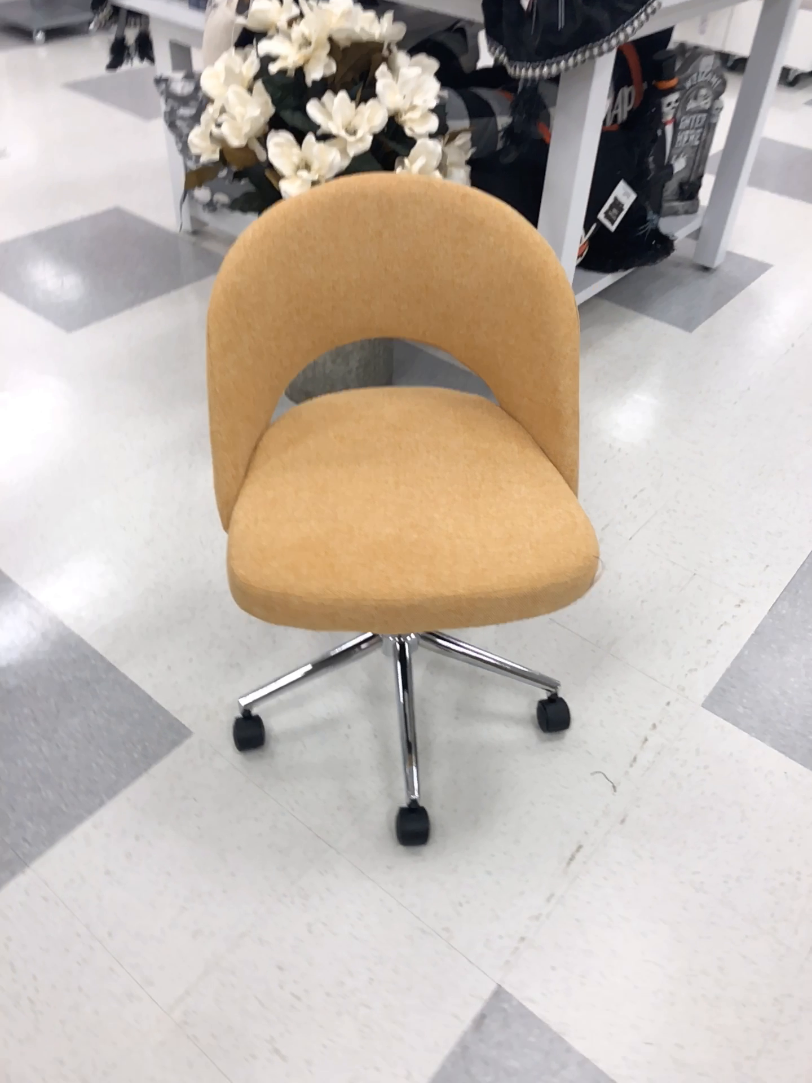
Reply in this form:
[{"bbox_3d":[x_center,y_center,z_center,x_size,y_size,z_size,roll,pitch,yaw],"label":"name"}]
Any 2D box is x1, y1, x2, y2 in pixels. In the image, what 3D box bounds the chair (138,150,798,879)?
[{"bbox_3d":[0.002,-0.049,1.246,0.581,0.749,0.638,-4,42,-9],"label":"chair"}]
